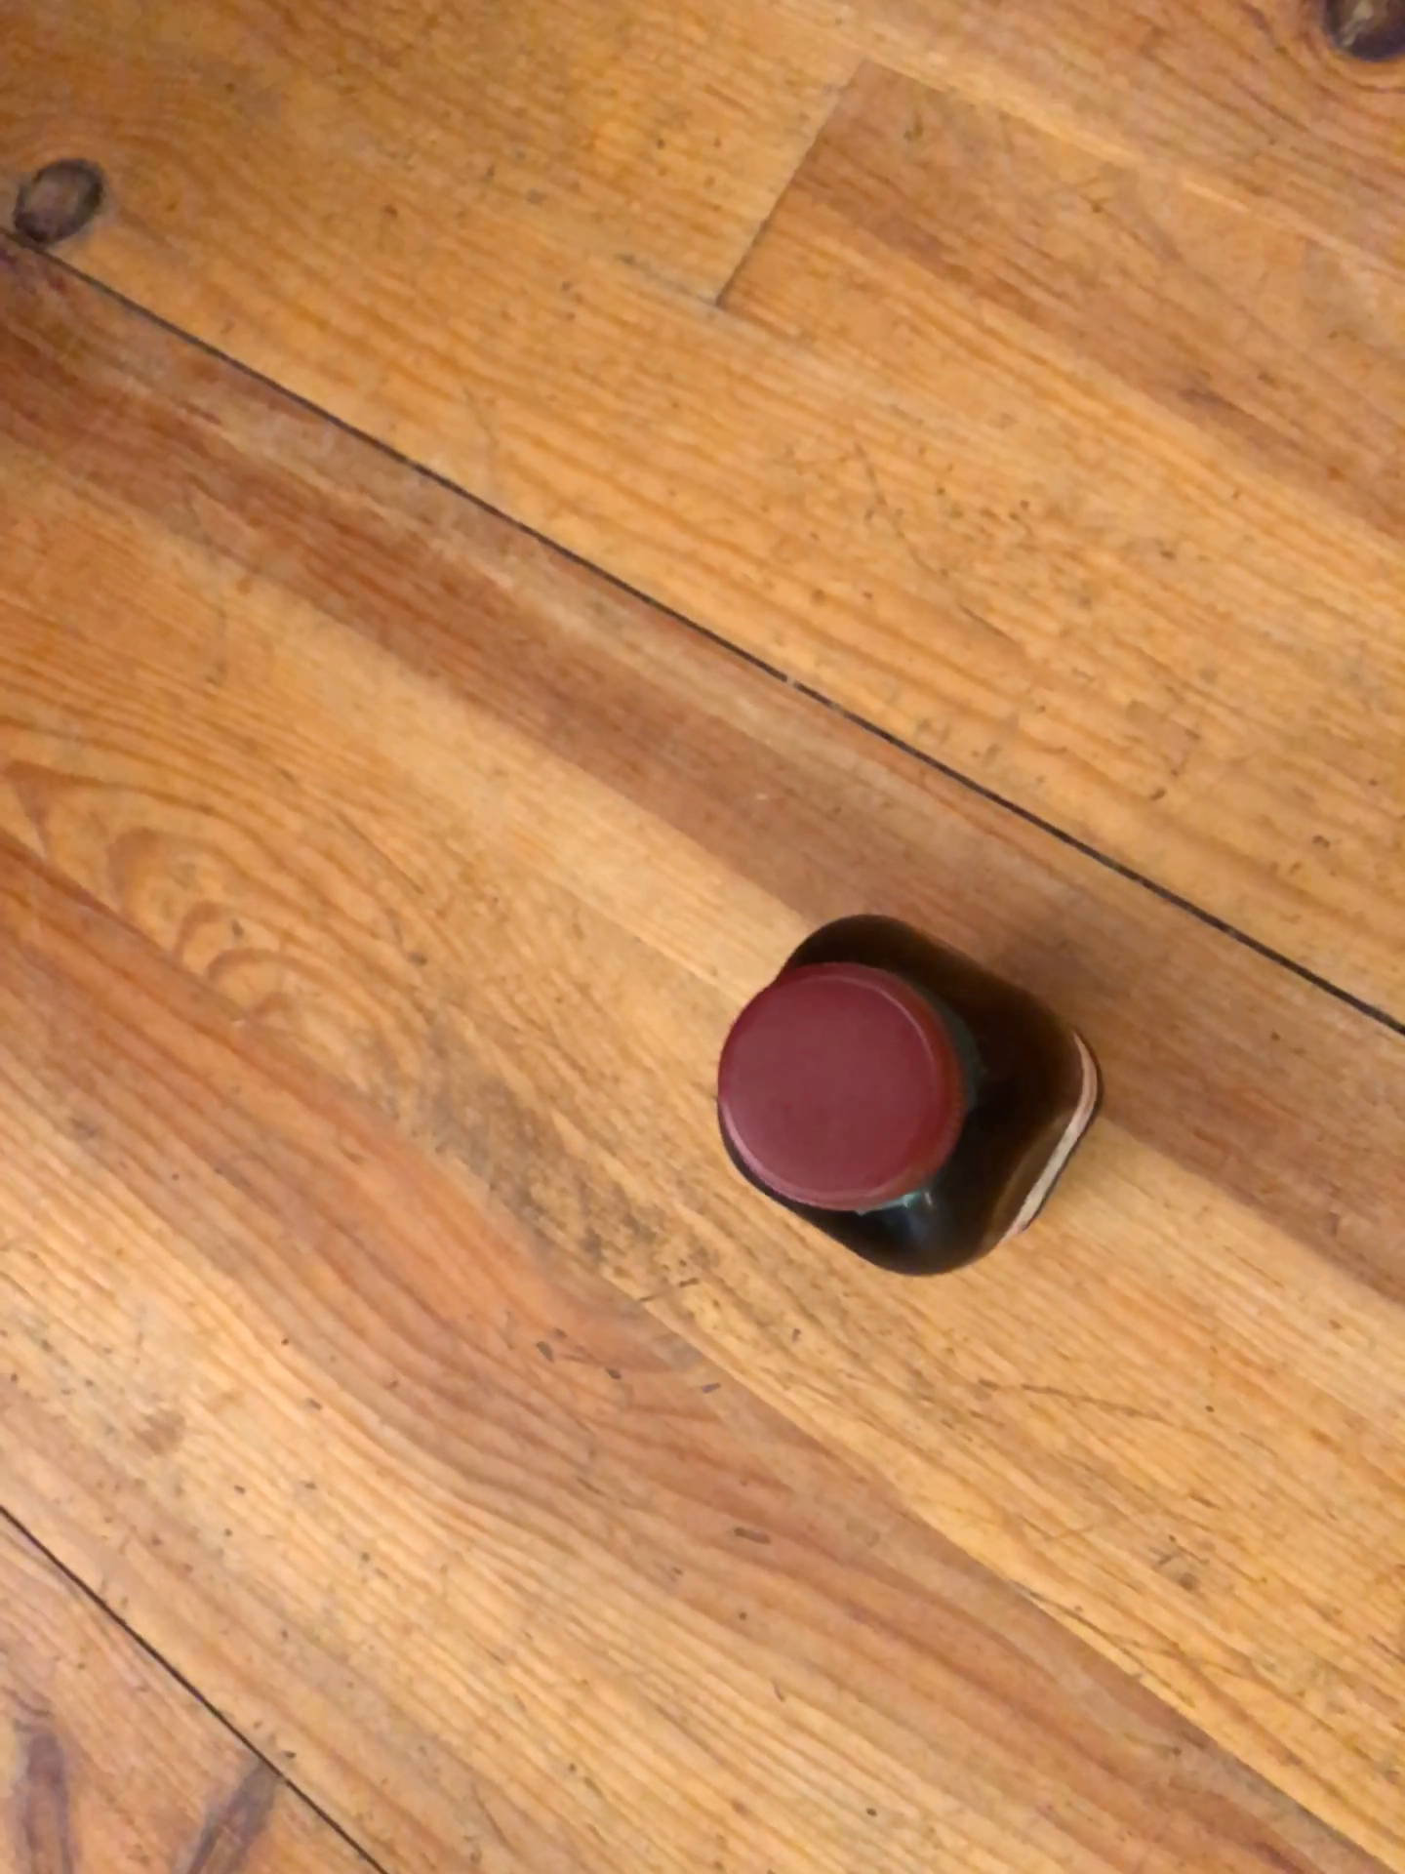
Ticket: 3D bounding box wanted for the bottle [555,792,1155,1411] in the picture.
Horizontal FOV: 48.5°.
[{"bbox_3d":[0.038,0.029,0.267,0.050,0.150,0.060,32,93,18],"label":"bottle"}]
